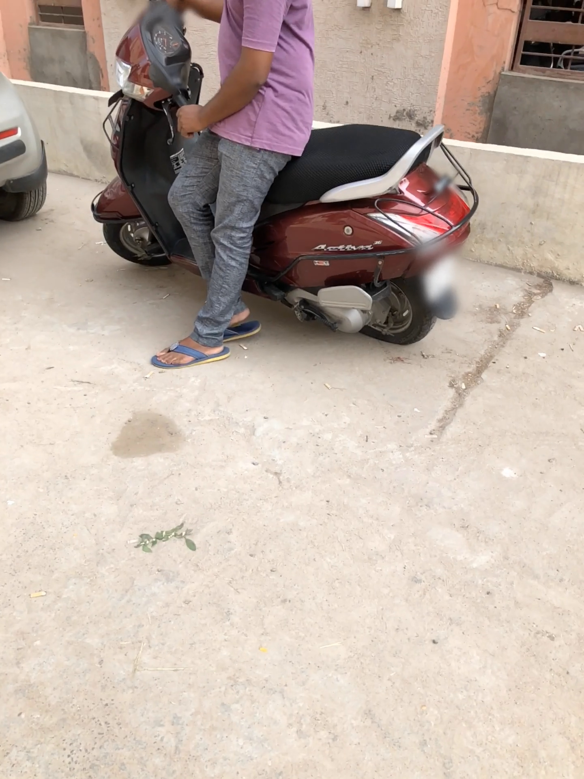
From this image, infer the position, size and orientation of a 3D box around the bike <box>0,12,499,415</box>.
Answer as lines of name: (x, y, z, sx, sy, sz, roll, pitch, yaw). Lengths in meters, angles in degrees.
bike: (-0.217, -0.738, 2.327, 1.576, 1.073, 0.633, 19, 36, 26)
